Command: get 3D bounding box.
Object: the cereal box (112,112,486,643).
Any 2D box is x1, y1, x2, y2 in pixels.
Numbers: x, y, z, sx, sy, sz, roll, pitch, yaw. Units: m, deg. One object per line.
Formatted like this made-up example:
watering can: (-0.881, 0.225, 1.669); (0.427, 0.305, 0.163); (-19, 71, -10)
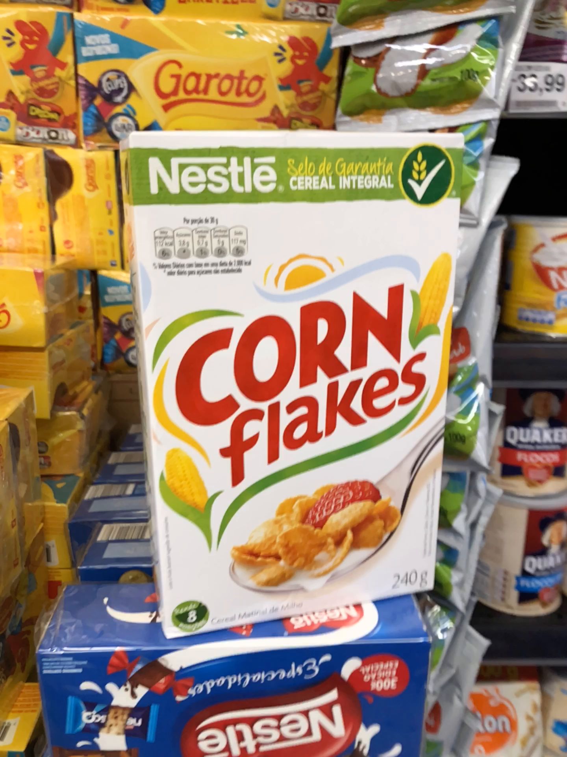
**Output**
cereal box: (0.005, -0.001, 0.337); (0.170, 0.249, 0.060); (-4, 16, -16)
